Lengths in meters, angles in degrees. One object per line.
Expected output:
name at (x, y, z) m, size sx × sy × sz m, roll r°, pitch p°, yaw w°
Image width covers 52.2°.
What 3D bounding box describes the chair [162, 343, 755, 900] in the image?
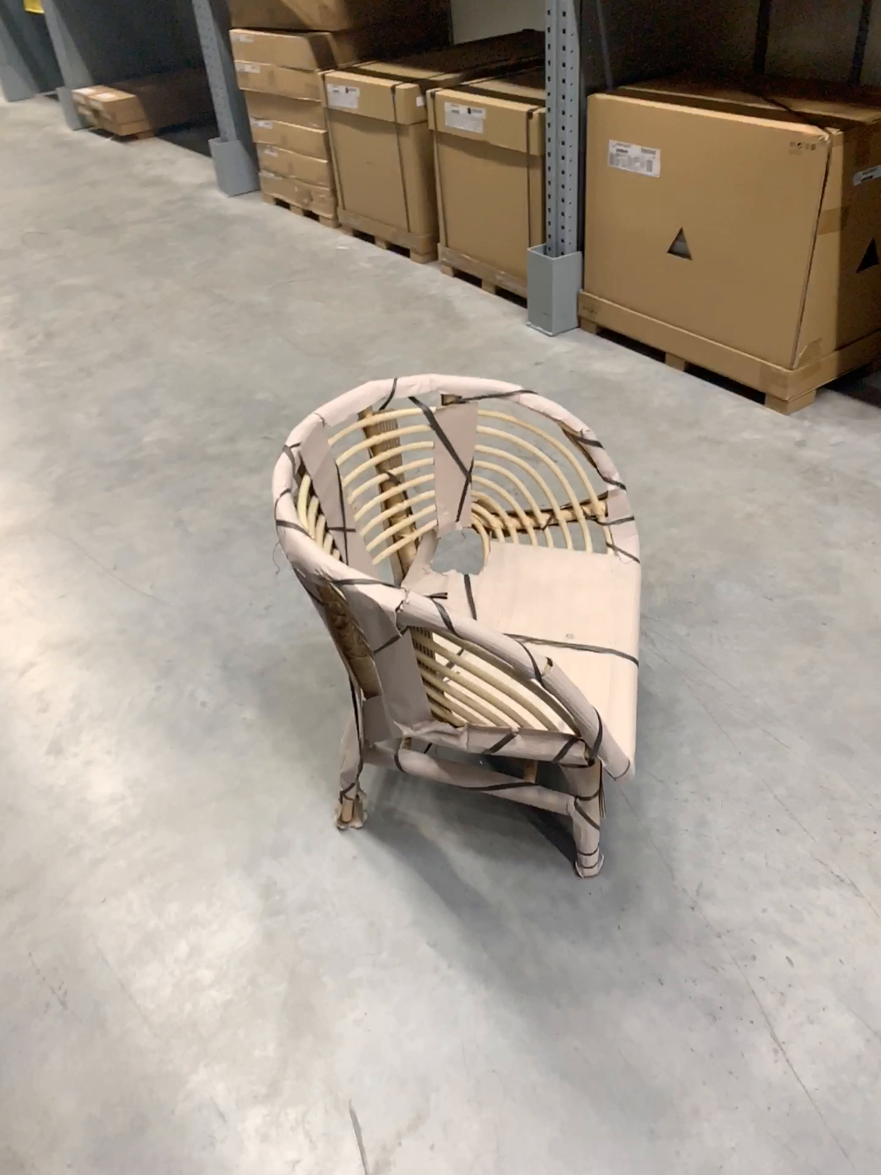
chair at (0.098, 0.000, 1.586) m, size 0.760 × 0.567 × 0.753 m, roll 4°, pitch 39°, yaw 13°
